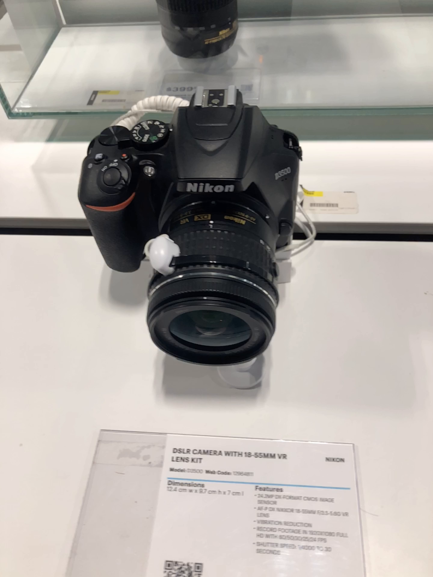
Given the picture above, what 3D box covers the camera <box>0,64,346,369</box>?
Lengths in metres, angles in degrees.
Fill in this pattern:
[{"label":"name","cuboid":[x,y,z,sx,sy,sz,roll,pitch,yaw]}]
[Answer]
[{"label":"camera","cuboid":[-0.013,-0.038,0.252,0.131,0.089,0.131,-1,52,5]}]
